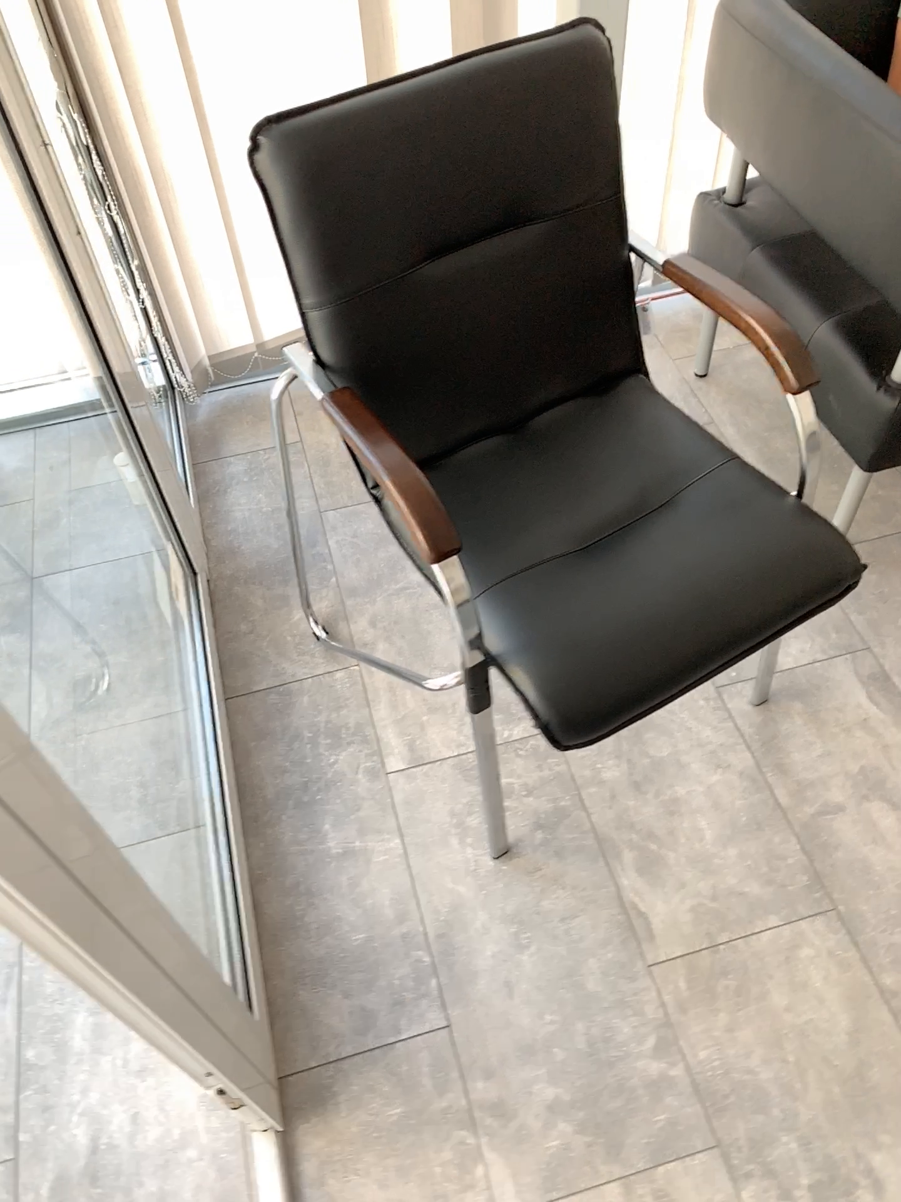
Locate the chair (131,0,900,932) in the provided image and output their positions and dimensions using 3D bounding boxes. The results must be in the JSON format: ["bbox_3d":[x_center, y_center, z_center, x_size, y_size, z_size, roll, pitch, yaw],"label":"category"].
[{"bbox_3d":[0.143,-0.178,1.234,0.680,0.827,0.702,-27,55,-17],"label":"chair"}]
